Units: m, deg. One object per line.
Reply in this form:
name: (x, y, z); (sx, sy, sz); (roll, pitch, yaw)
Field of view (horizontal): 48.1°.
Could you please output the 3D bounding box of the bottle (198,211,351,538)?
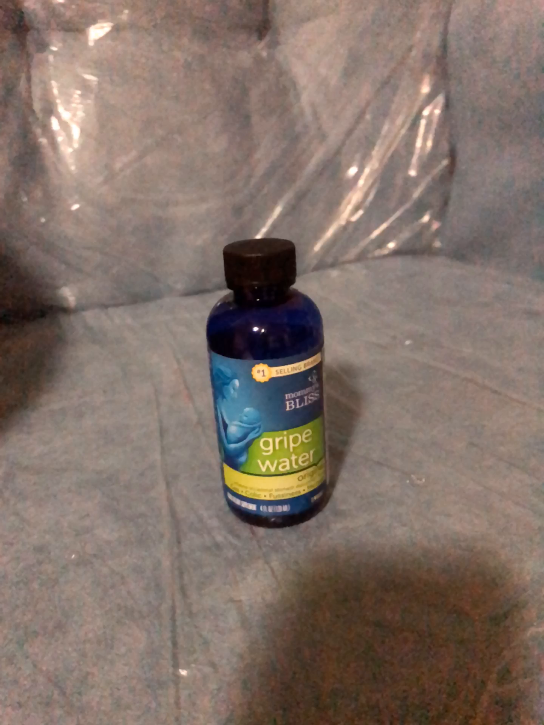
bottle: (0.002, 0.006, 0.247); (0.050, 0.120, 0.050); (-3, 26, 1)
